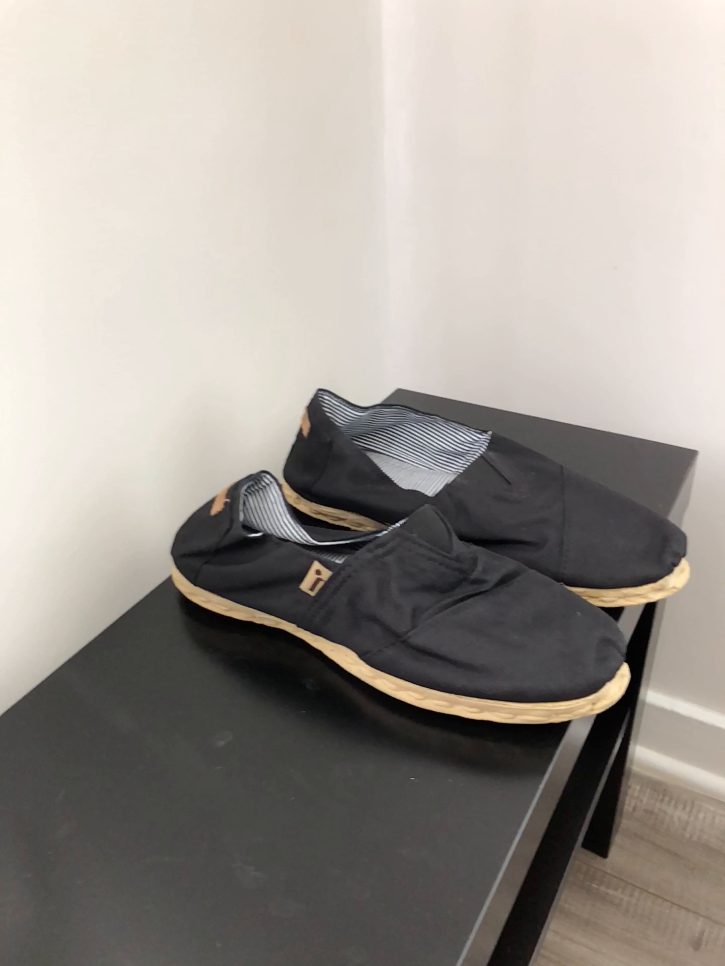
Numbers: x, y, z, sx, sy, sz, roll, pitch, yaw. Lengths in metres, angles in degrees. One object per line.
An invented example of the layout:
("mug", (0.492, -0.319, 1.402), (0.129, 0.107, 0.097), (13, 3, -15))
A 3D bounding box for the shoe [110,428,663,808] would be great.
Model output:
("shoe", (0.006, 0.056, 0.438), (0.275, 0.080, 0.101), (16, 37, 26))

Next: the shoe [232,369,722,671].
("shoe", (0.063, 0.009, 0.501), (0.275, 0.080, 0.101), (16, 37, 26))
